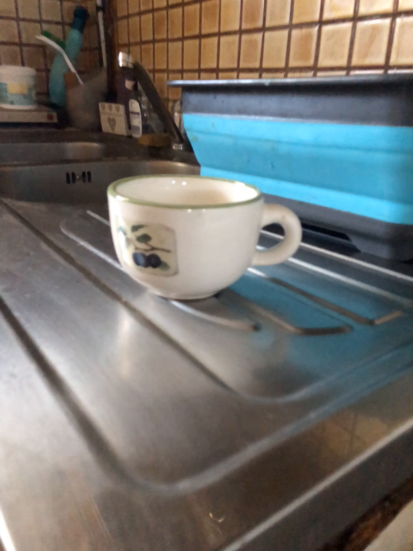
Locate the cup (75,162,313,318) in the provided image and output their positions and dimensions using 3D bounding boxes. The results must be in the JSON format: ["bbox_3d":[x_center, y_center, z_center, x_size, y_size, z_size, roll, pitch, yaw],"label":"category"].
[{"bbox_3d":[-0.003,-0.027,0.262,0.110,0.060,0.090,3,22,4],"label":"cup"}]
